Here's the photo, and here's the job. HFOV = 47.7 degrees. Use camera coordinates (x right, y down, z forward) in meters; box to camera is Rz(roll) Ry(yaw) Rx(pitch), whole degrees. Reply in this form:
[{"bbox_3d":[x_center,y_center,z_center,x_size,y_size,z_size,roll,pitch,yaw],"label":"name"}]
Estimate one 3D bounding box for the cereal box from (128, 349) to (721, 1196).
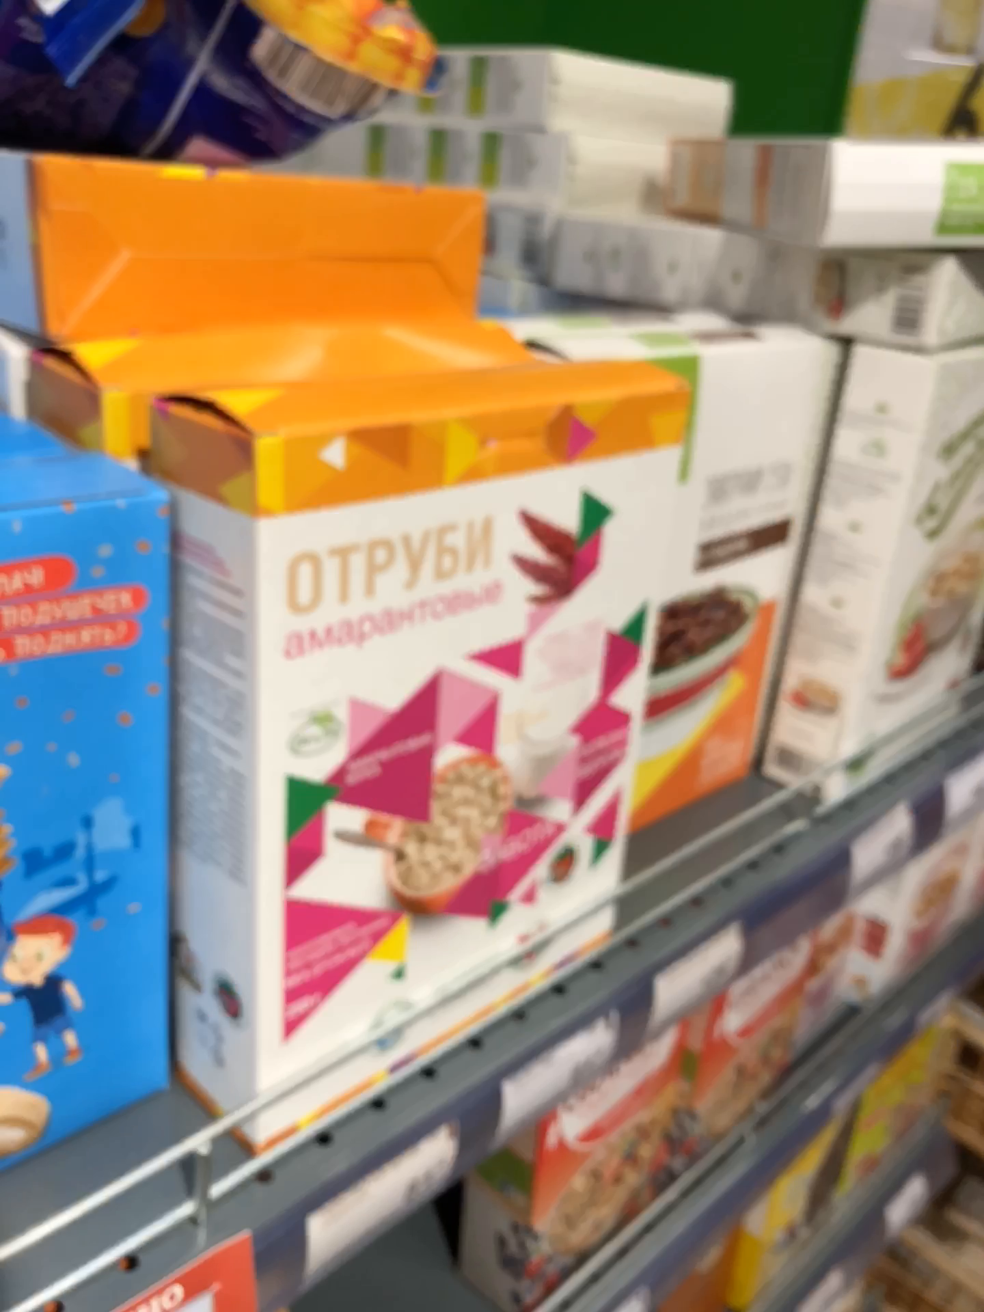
[{"bbox_3d":[-0.020,0.030,0.408,0.200,0.259,0.060,-18,32,-42],"label":"cereal box"}]
